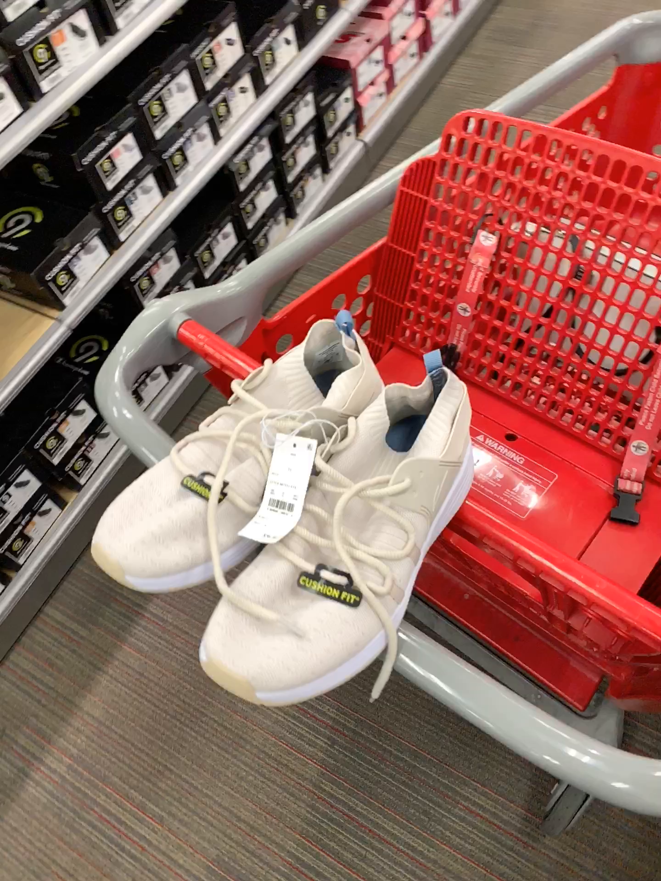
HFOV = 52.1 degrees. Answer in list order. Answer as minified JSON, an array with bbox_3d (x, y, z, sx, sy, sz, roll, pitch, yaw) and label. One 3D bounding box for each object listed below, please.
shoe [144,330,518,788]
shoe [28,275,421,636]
[{"bbox_3d":[0.019,0.060,0.465,0.110,0.110,0.281,22,51,21],"label":"shoe"},{"bbox_3d":[-0.063,-0.005,0.525,0.110,0.110,0.280,33,52,25],"label":"shoe"}]
